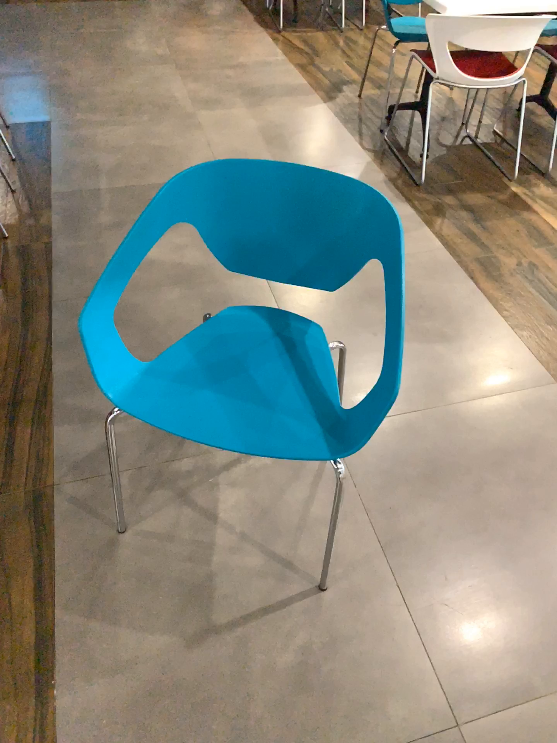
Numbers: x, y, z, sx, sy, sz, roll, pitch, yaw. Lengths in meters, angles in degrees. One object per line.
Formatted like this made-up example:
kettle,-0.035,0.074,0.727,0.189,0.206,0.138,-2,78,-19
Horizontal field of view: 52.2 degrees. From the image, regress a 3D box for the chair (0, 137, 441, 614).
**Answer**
chair,-0.060,0.010,1.248,0.610,0.724,0.595,13,46,10
